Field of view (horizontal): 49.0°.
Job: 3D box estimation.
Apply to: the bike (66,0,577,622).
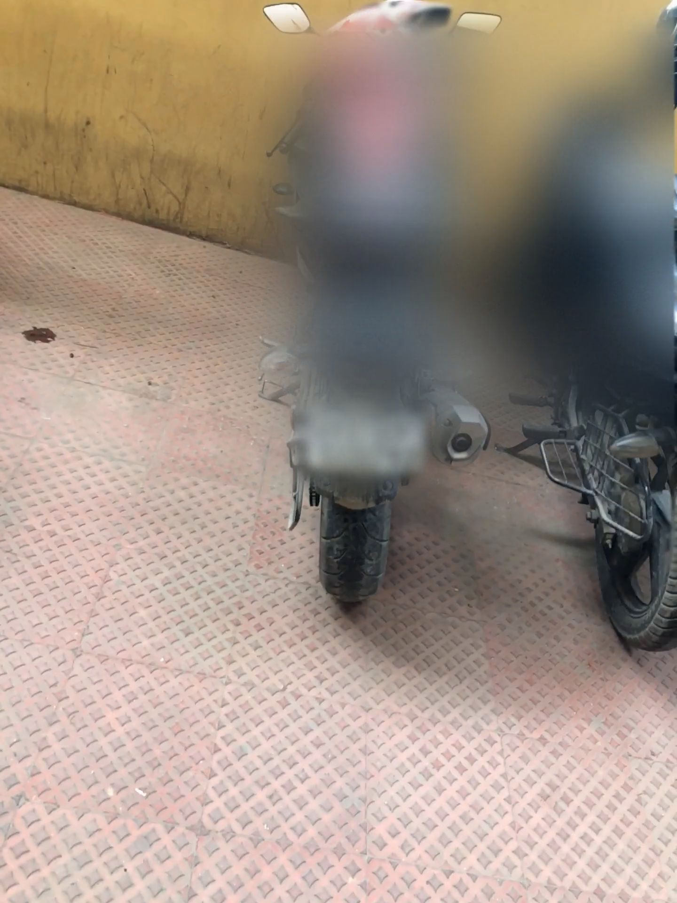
[{"bbox_3d":[-0.174,-0.644,1.983,0.725,0.869,1.755,9,40,-13],"label":"bike"}]
